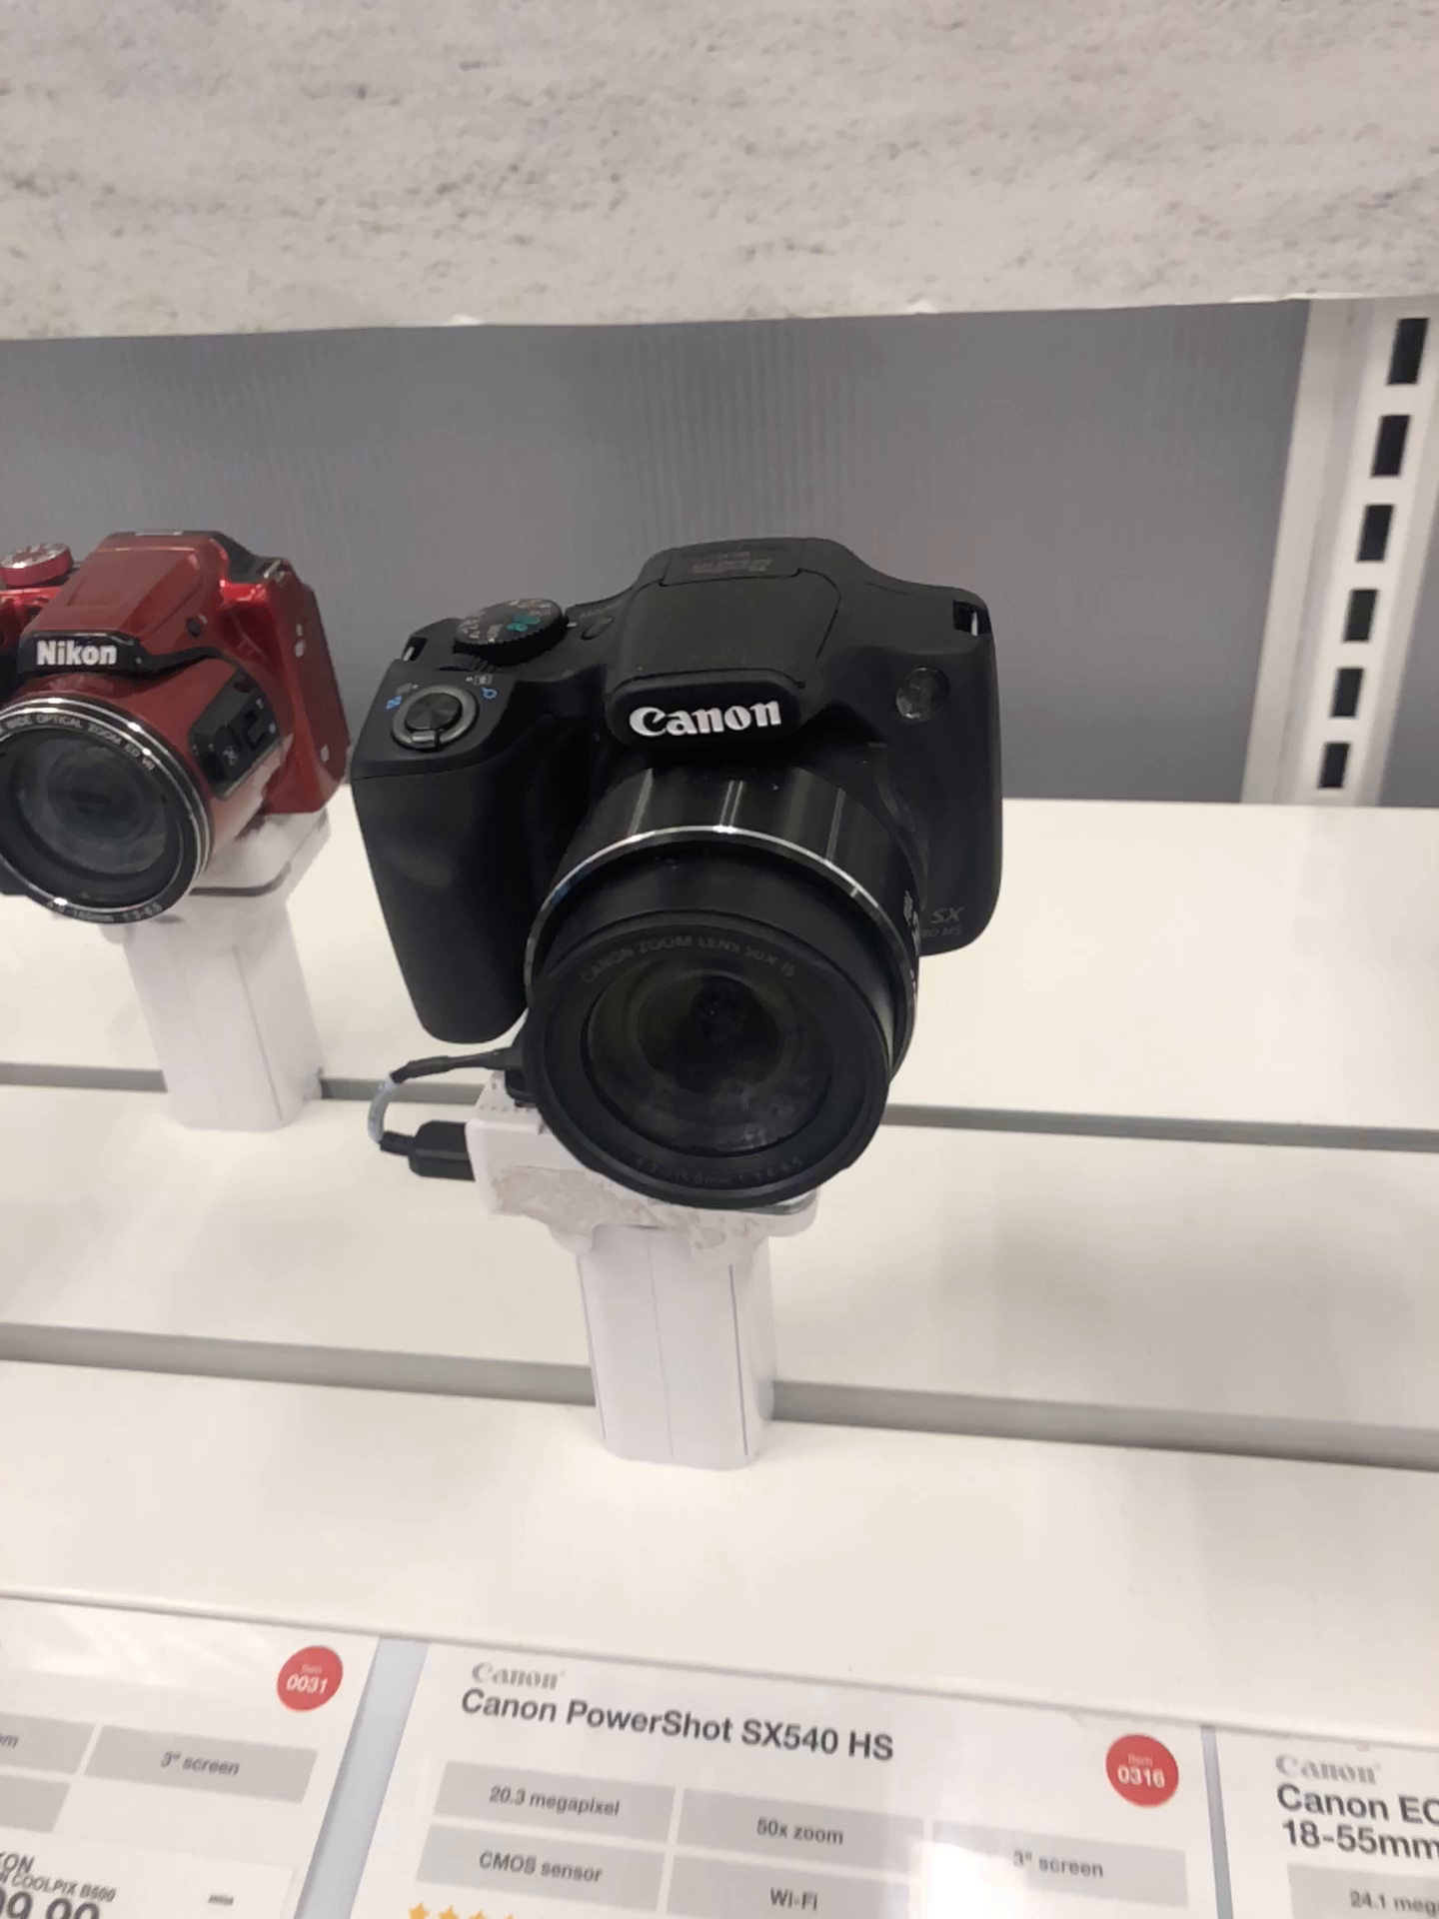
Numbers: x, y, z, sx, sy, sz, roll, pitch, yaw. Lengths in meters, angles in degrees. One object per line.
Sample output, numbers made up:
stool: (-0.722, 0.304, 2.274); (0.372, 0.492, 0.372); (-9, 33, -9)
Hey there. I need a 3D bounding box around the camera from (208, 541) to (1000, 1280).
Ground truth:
camera: (-0.009, -0.012, 0.260); (0.100, 0.076, 0.099); (0, 35, 7)
